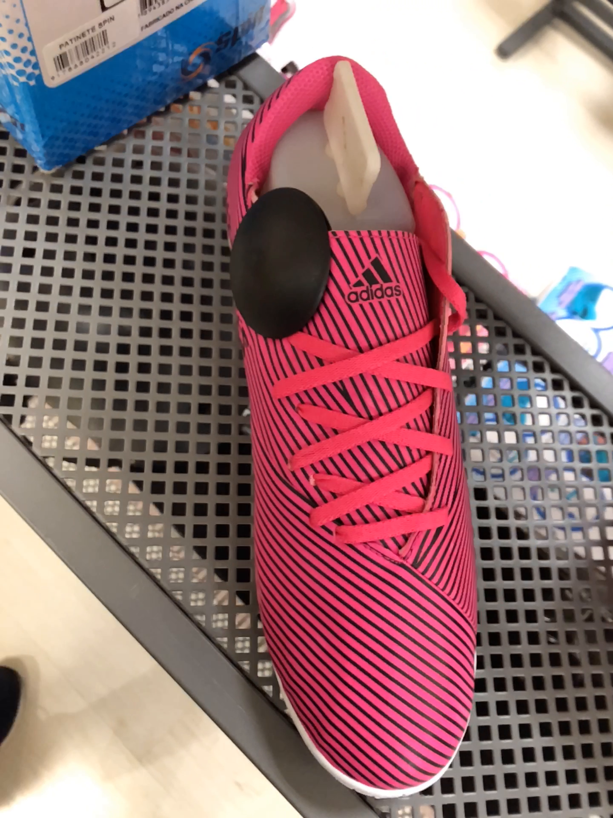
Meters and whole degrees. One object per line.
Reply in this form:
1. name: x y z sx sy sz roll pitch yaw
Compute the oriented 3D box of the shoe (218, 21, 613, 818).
1. shoe: 0.023 0.004 0.250 0.095 0.100 0.260 -3 73 -9
